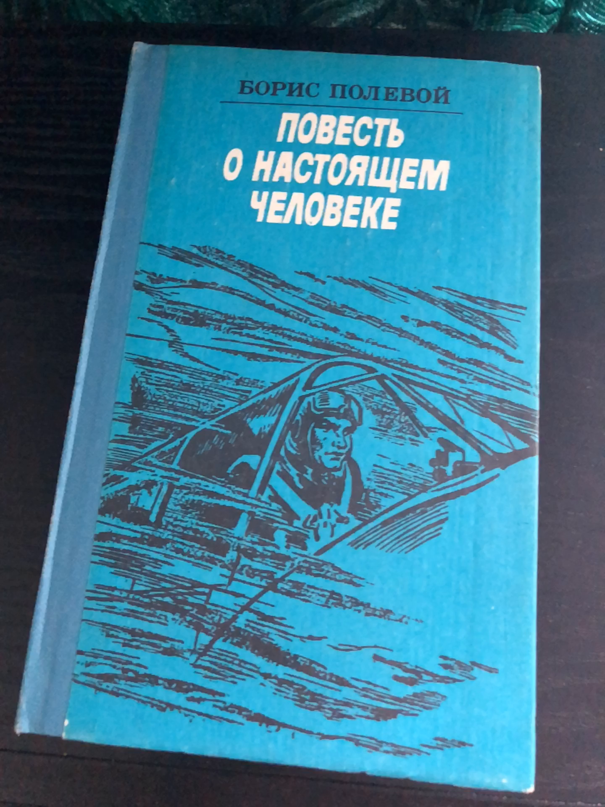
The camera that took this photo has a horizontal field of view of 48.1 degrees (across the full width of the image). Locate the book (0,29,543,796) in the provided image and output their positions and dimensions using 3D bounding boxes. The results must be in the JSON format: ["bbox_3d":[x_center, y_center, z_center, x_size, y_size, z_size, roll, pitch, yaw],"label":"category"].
[{"bbox_3d":[-0.001,-0.010,0.181,0.123,0.020,0.190,4,77,3],"label":"book"}]
